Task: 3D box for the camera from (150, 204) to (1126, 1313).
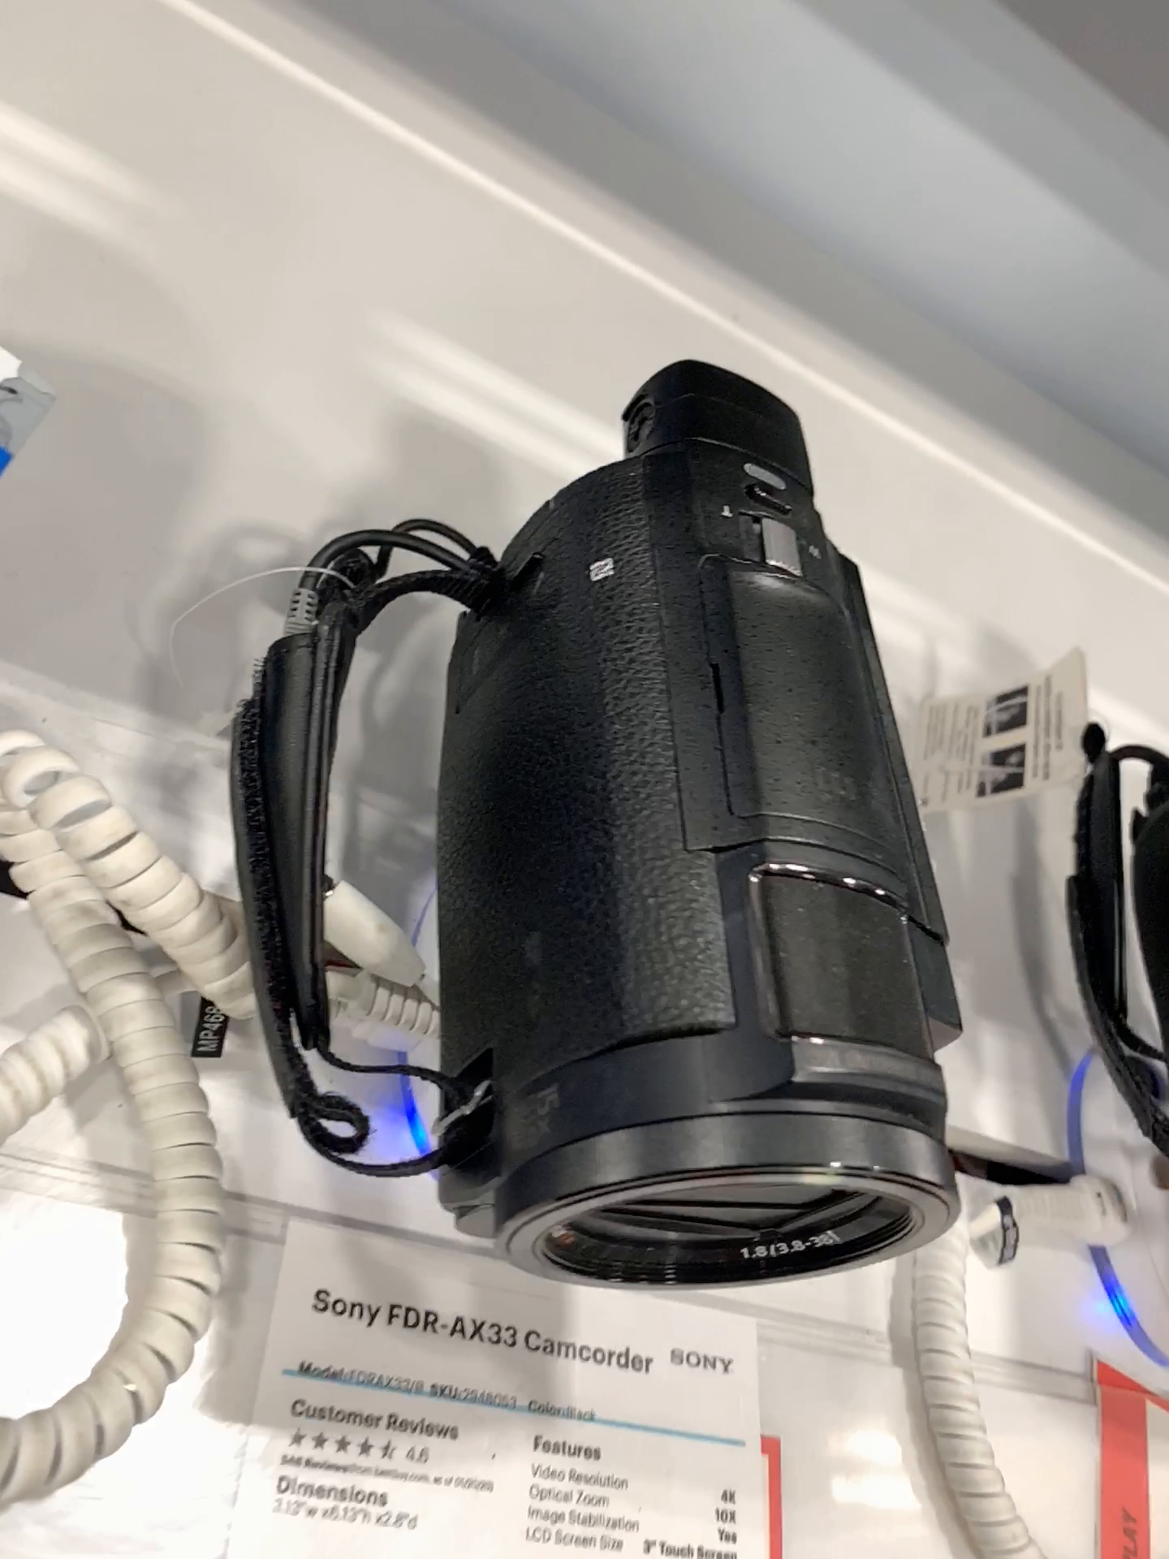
[{"bbox_3d":[0.005,0.001,0.192,0.103,0.067,0.136,18,51,-26],"label":"camera"}]
